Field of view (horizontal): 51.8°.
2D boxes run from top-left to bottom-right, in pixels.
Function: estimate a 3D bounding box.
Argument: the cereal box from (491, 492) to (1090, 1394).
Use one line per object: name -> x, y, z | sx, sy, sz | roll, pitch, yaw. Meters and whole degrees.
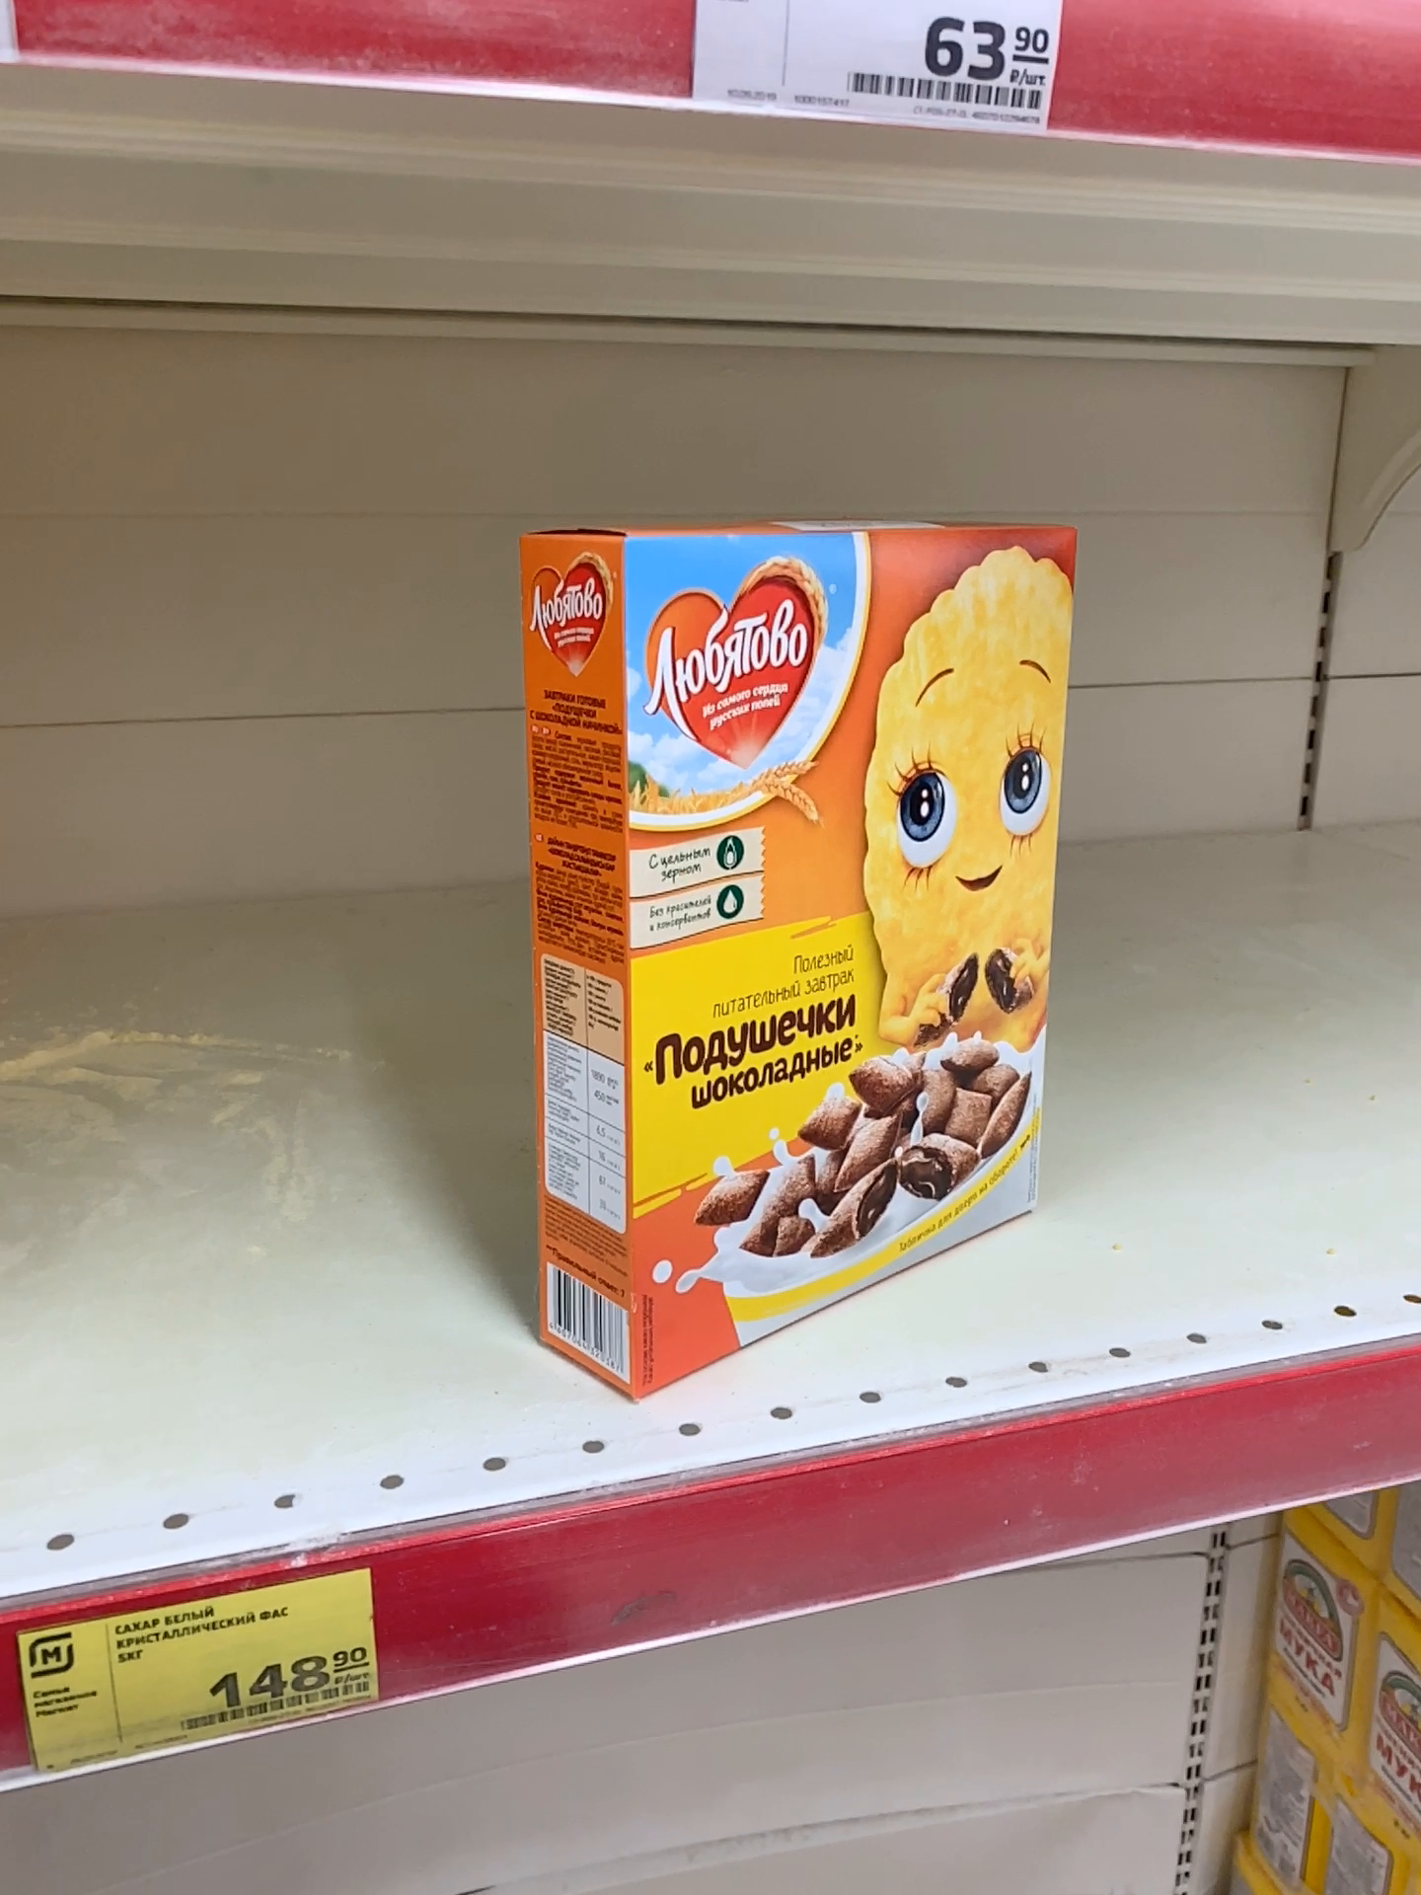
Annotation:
cereal box -> 0.030, -0.014, 0.432 | 0.180, 0.229, 0.050 | -14, 21, -39
